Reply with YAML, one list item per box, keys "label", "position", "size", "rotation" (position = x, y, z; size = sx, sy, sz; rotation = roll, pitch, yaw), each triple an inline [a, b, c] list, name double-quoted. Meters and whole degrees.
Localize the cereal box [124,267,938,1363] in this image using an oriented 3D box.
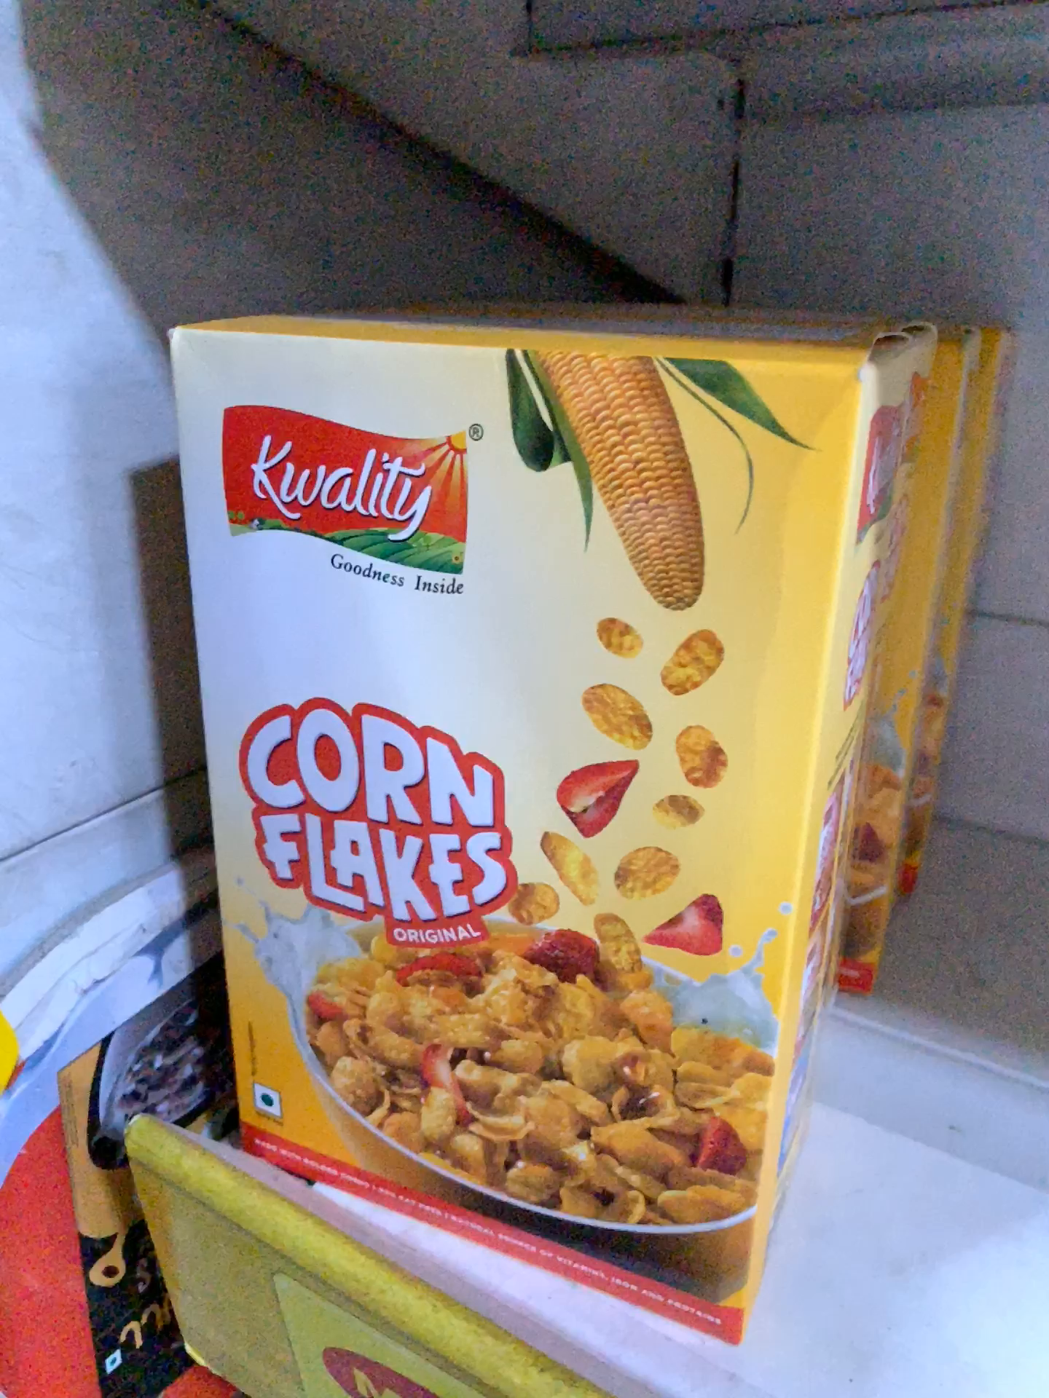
- label: "cereal box"
  position: [0.001, 0.014, 0.212]
  size: [0.120, 0.179, 0.060]
  rotation: [10, 22, 22]
